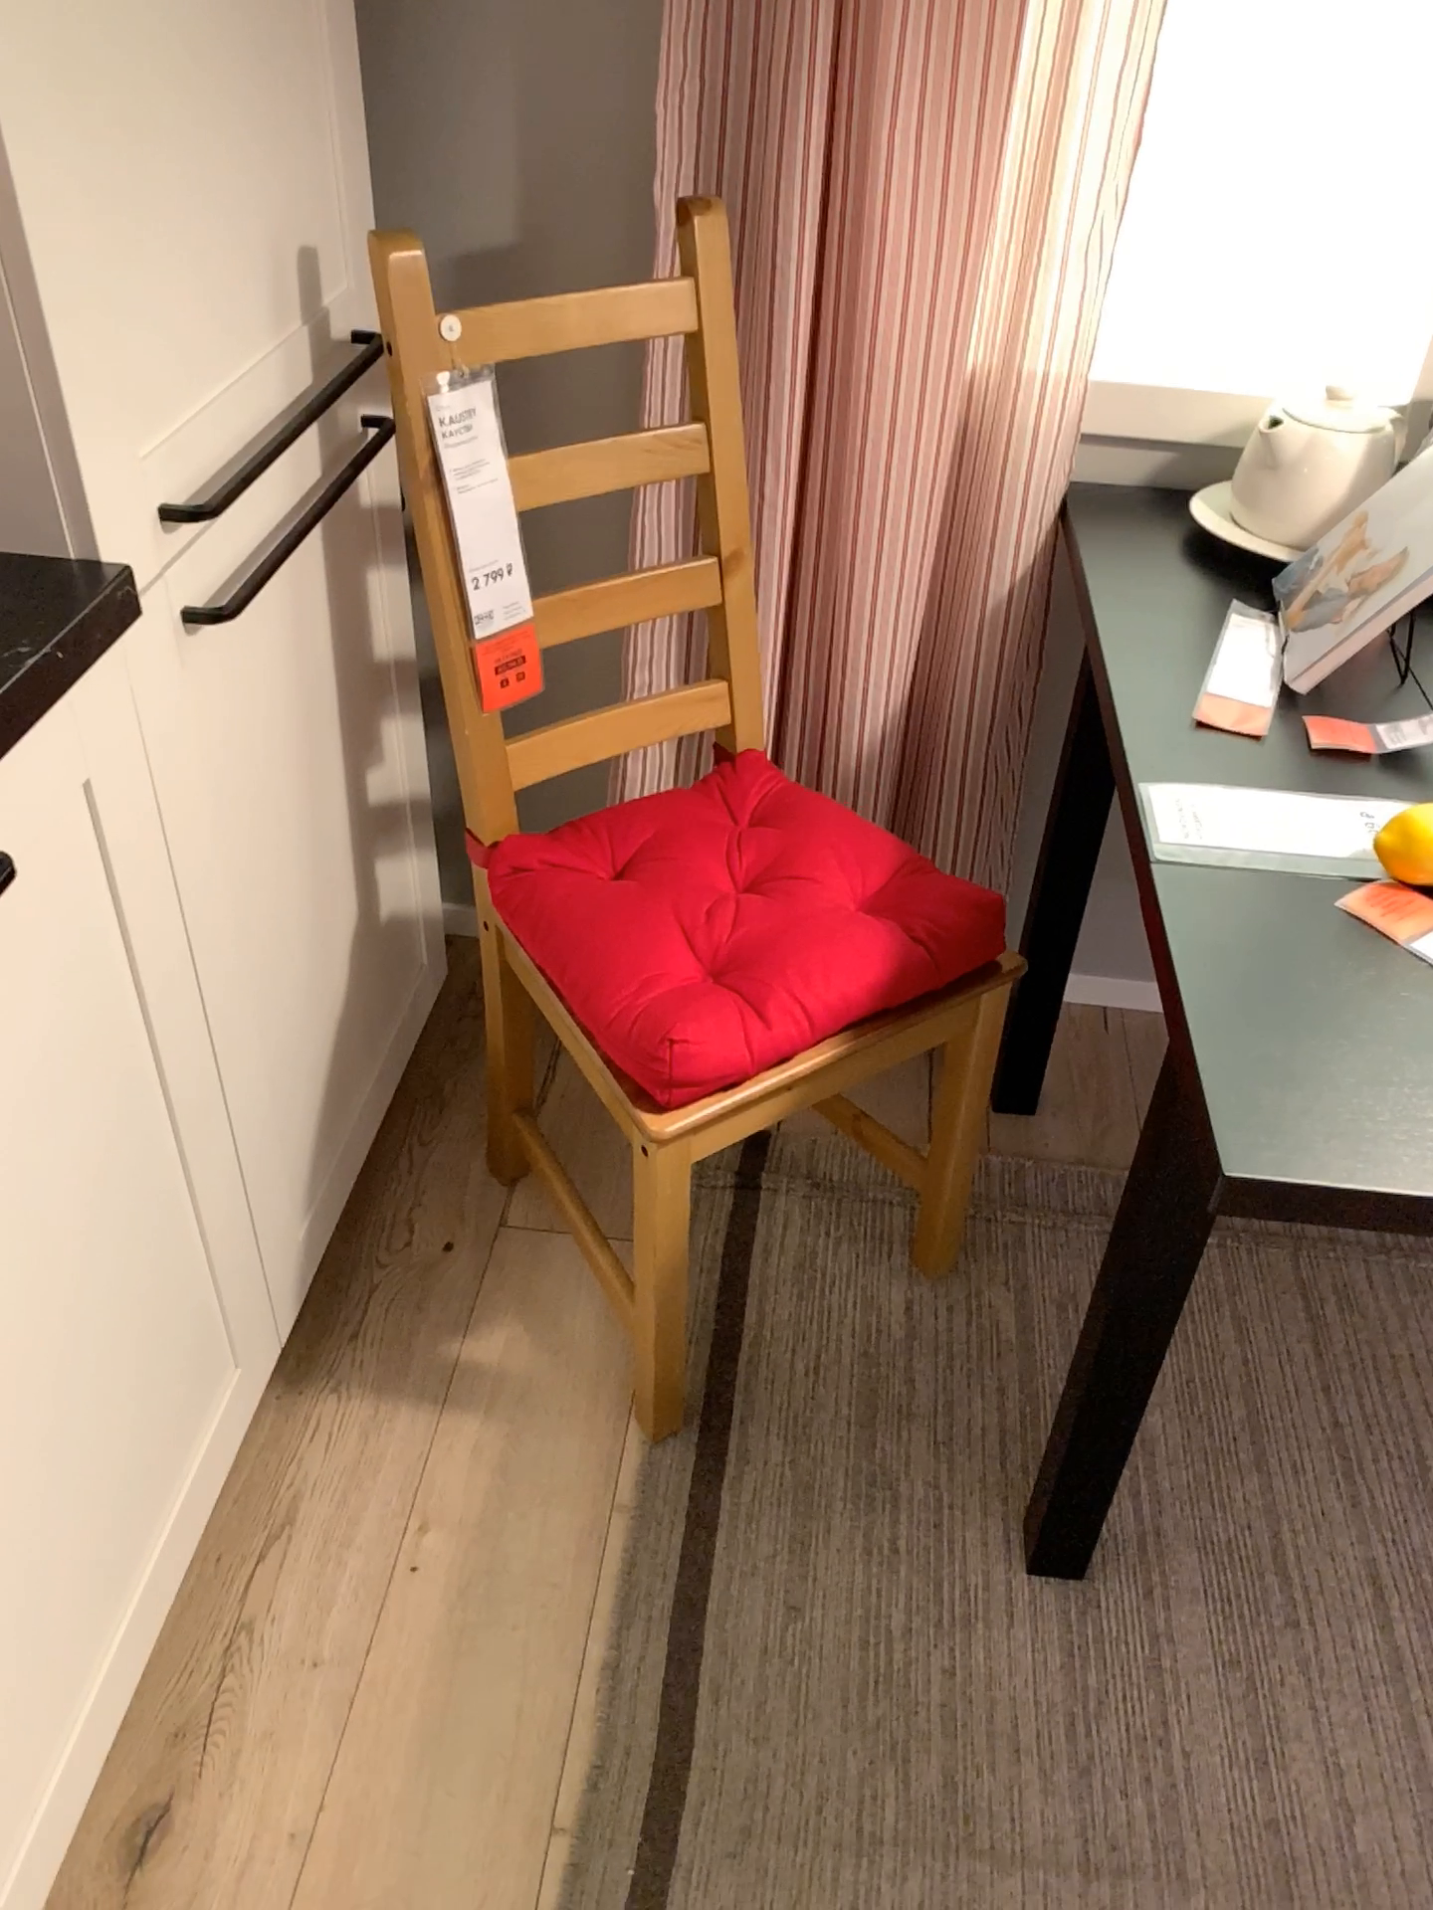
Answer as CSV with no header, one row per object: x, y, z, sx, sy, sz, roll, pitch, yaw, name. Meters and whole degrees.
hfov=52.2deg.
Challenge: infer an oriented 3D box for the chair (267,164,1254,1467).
-0.007,-0.128,1.431,0.501,1.014,0.582,-24,46,-30,chair
